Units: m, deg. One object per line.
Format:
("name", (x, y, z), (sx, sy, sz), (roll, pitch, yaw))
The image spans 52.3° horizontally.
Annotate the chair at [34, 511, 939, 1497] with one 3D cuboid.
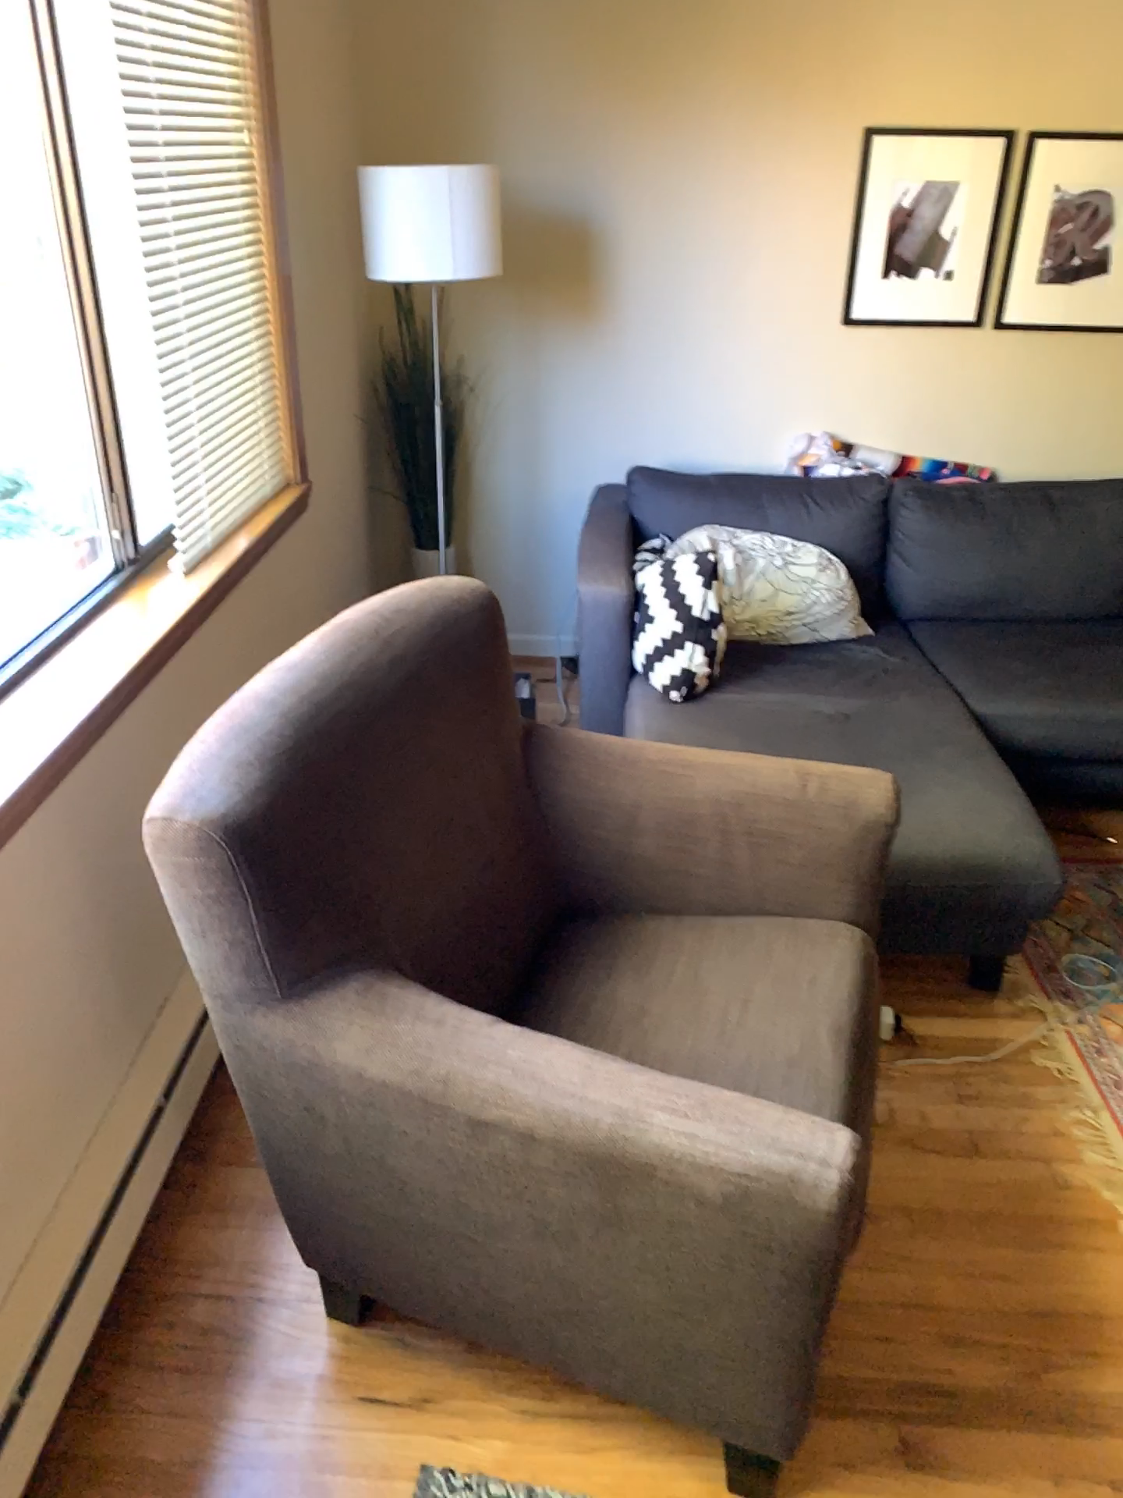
("chair", (0.031, 0.250, 1.524), (0.801, 0.875, 0.884), (6, 28, 15))
